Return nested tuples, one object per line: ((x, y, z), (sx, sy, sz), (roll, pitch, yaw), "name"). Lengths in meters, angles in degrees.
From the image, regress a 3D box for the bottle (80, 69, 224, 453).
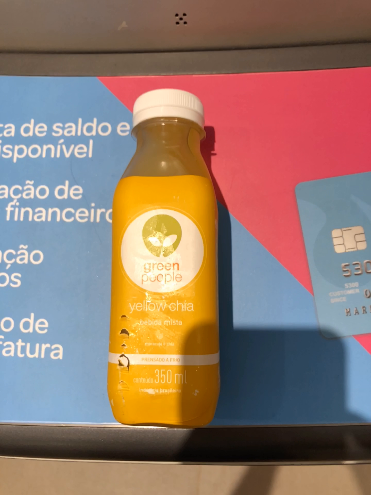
((-0.011, 0.004, 0.226), (0.060, 0.060, 0.180), (1, 81, 6), "bottle")
